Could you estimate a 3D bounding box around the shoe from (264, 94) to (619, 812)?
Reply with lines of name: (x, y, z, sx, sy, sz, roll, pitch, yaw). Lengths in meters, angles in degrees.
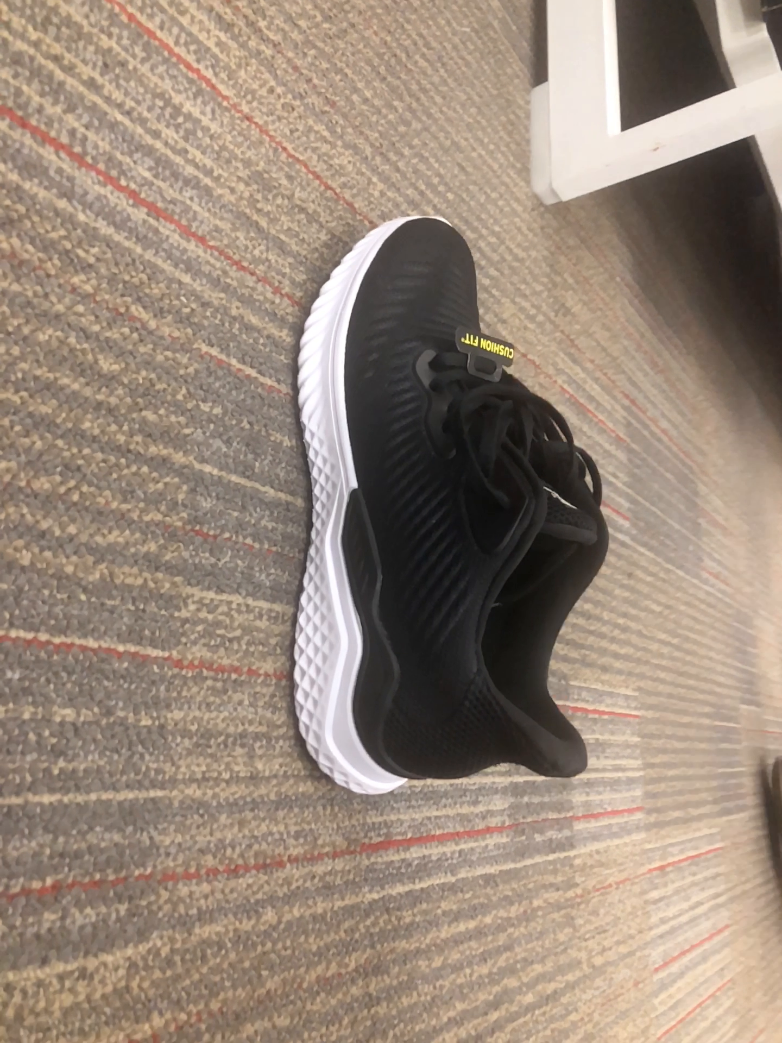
shoe: (0.032, -0.021, 0.400, 0.121, 0.099, 0.290, 25, 62, -52)
